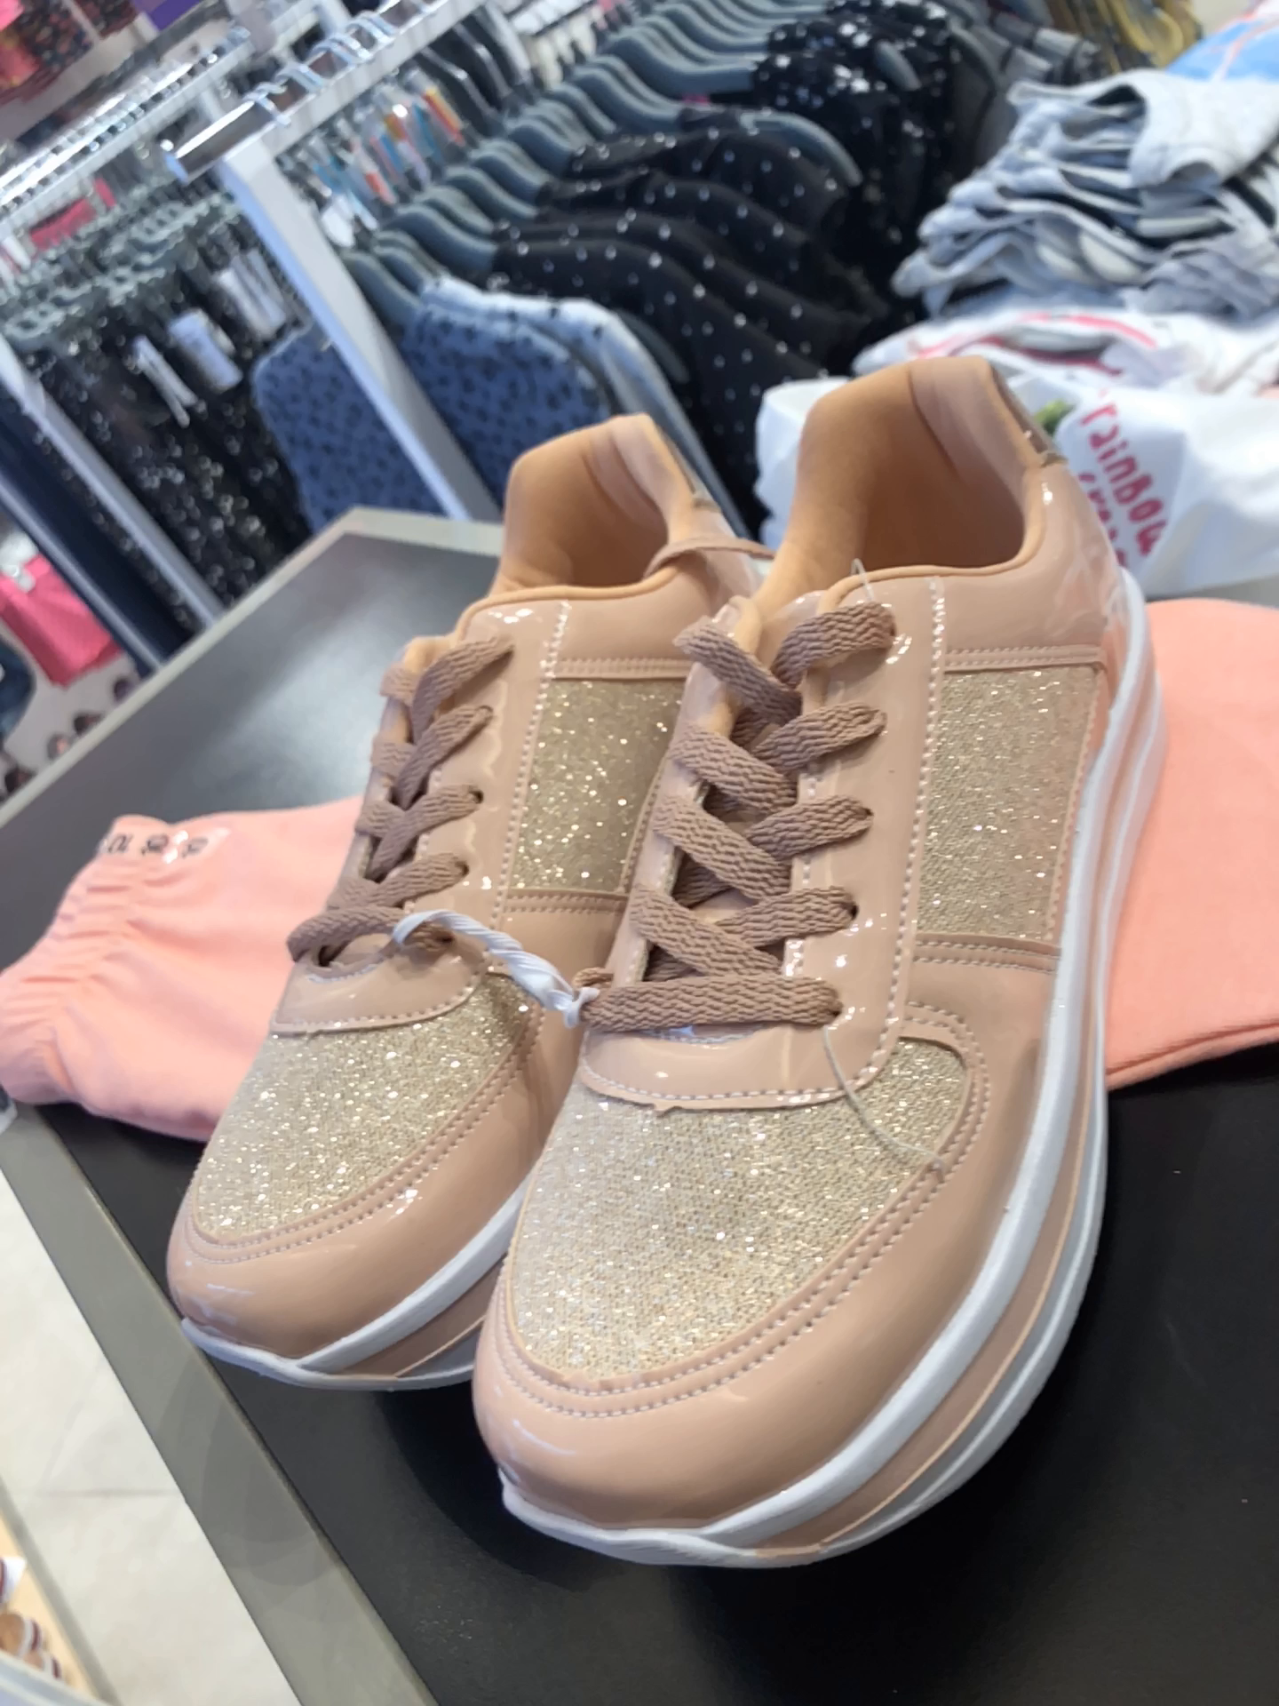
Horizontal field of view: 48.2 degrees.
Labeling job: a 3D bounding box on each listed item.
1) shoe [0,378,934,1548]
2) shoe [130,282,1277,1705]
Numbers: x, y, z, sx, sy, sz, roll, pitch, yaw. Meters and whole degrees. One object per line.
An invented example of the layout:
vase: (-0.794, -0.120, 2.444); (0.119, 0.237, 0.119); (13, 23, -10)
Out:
shoe: (-0.027, 0.010, 0.315); (0.090, 0.099, 0.221); (-2, 46, 39)
shoe: (0.033, 0.011, 0.247); (0.090, 0.089, 0.221); (-2, 46, 39)
